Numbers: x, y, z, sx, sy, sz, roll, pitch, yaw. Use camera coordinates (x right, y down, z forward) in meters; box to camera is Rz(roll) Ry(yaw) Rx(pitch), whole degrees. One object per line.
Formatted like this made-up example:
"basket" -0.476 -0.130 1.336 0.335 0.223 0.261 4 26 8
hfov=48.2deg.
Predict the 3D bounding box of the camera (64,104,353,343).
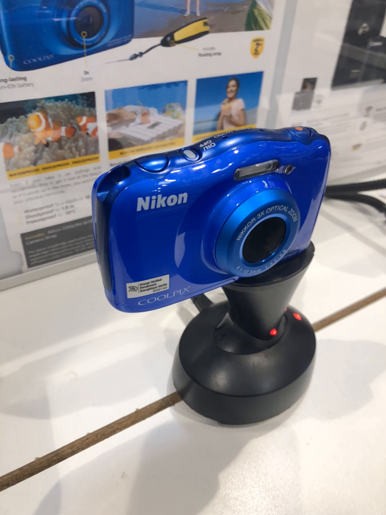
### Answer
"camera" 0.007 -0.019 0.174 0.100 0.060 0.040 -20 45 -28
